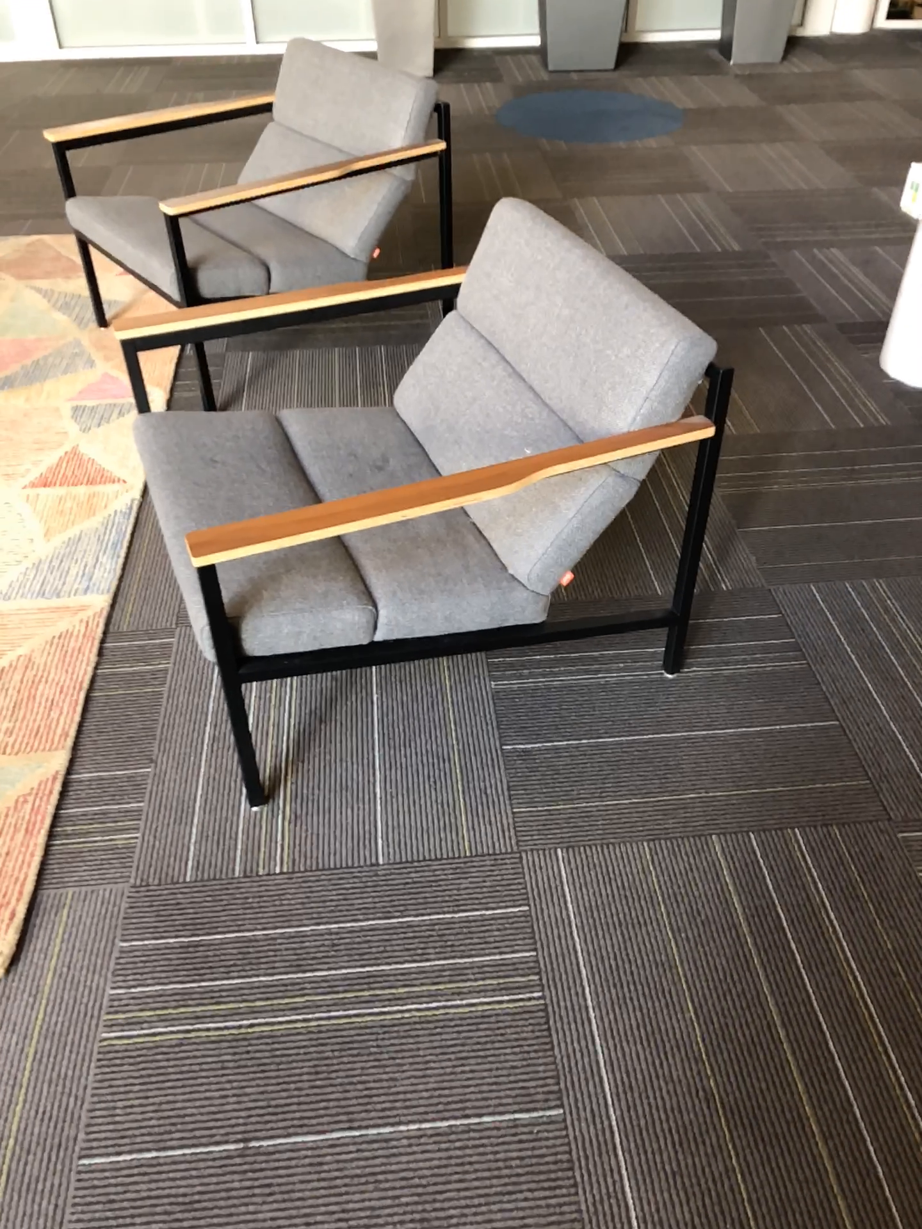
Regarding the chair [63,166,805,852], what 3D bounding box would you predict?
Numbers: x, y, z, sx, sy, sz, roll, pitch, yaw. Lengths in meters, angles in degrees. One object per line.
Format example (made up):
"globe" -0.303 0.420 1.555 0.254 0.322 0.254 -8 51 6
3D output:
"chair" -0.081 -0.253 1.806 0.920 0.696 0.794 -18 42 -17
